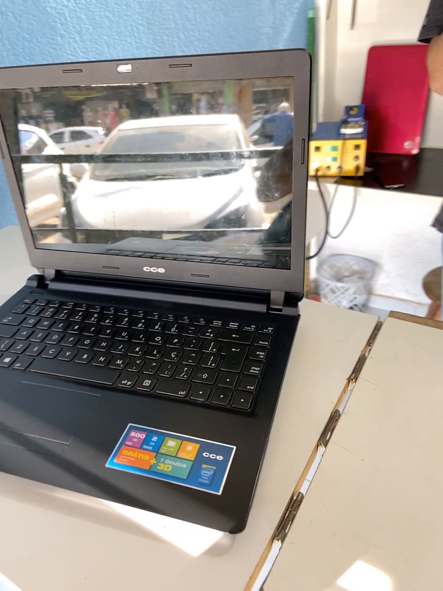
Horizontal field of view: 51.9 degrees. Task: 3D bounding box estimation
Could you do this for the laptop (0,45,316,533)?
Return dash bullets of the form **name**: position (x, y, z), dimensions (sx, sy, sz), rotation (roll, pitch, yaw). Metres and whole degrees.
- **laptop**: position (-0.109, -0.040, 0.369), dimensions (0.323, 0.216, 0.268), rotation (5, 36, 19)
